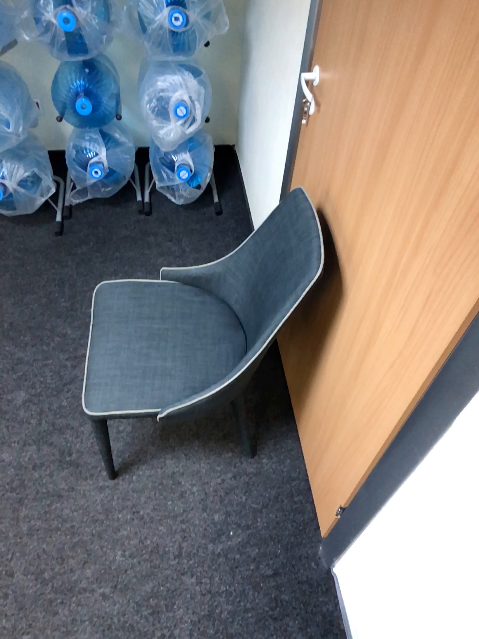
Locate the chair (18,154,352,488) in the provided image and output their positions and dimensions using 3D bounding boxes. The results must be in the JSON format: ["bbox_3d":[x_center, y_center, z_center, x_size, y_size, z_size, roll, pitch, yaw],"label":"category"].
[{"bbox_3d":[-0.146,0.048,1.497,0.640,0.846,0.523,-2,52,-6],"label":"chair"}]
